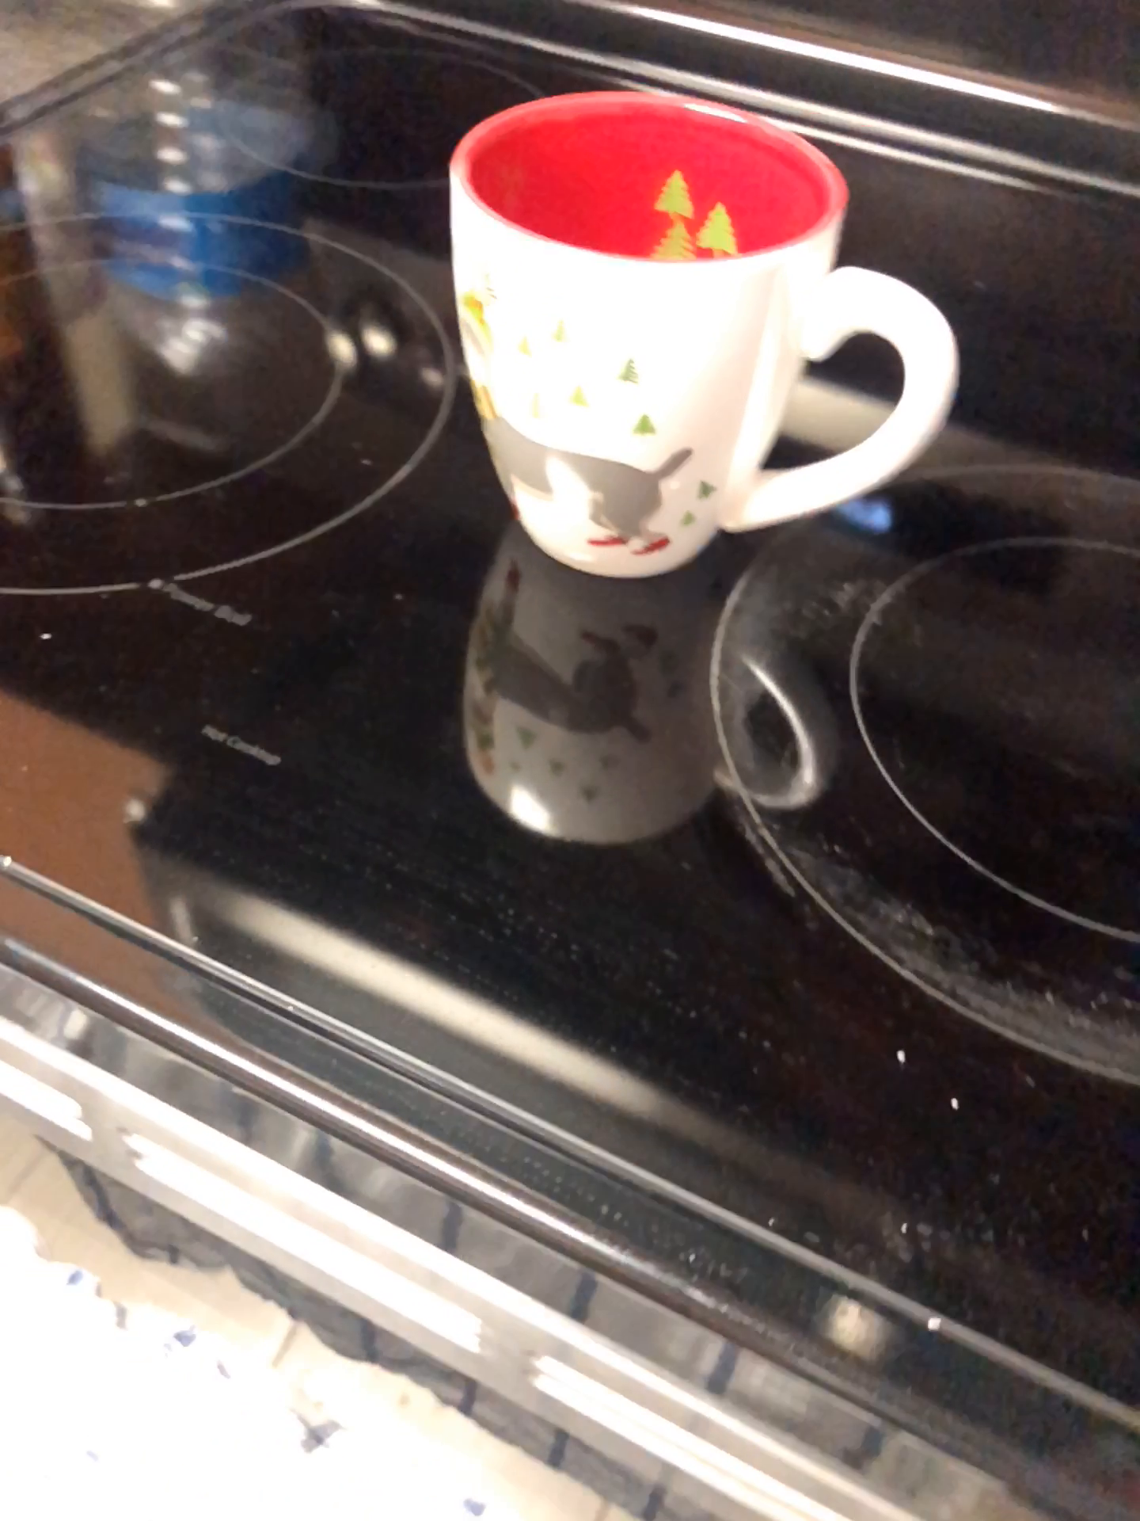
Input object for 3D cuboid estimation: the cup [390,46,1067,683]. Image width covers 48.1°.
[{"bbox_3d":[0.040,-0.111,0.349,0.140,0.100,0.100,21,50,14],"label":"cup"}]
